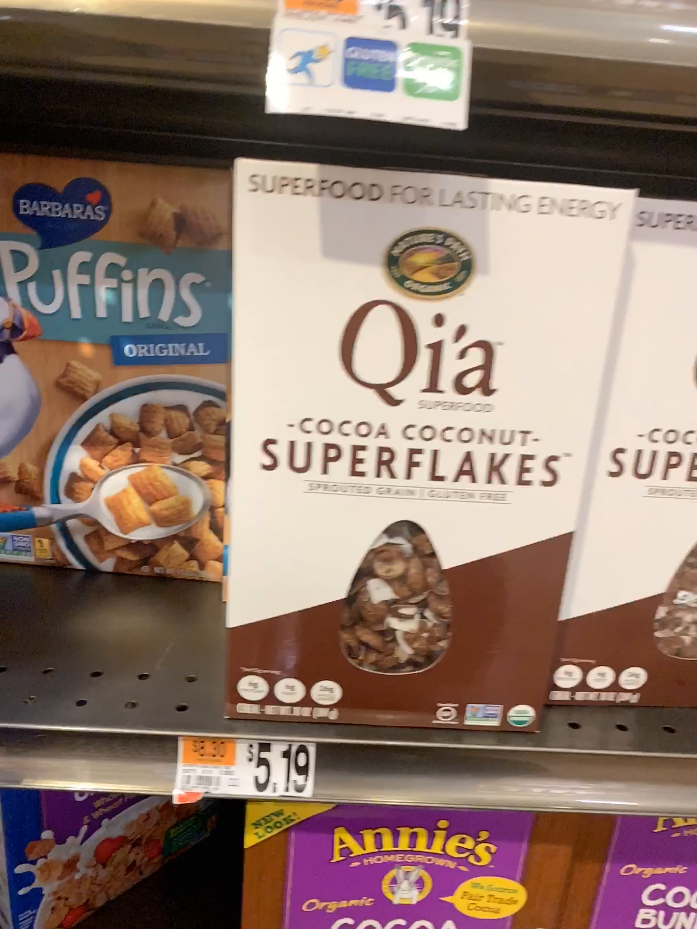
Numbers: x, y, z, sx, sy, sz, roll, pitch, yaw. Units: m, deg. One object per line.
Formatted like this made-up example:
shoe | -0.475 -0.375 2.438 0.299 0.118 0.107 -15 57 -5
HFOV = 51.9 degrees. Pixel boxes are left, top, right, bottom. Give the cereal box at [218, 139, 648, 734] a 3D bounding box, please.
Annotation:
cereal box | 0.025 -0.004 0.340 0.160 0.259 0.060 4 18 -3
